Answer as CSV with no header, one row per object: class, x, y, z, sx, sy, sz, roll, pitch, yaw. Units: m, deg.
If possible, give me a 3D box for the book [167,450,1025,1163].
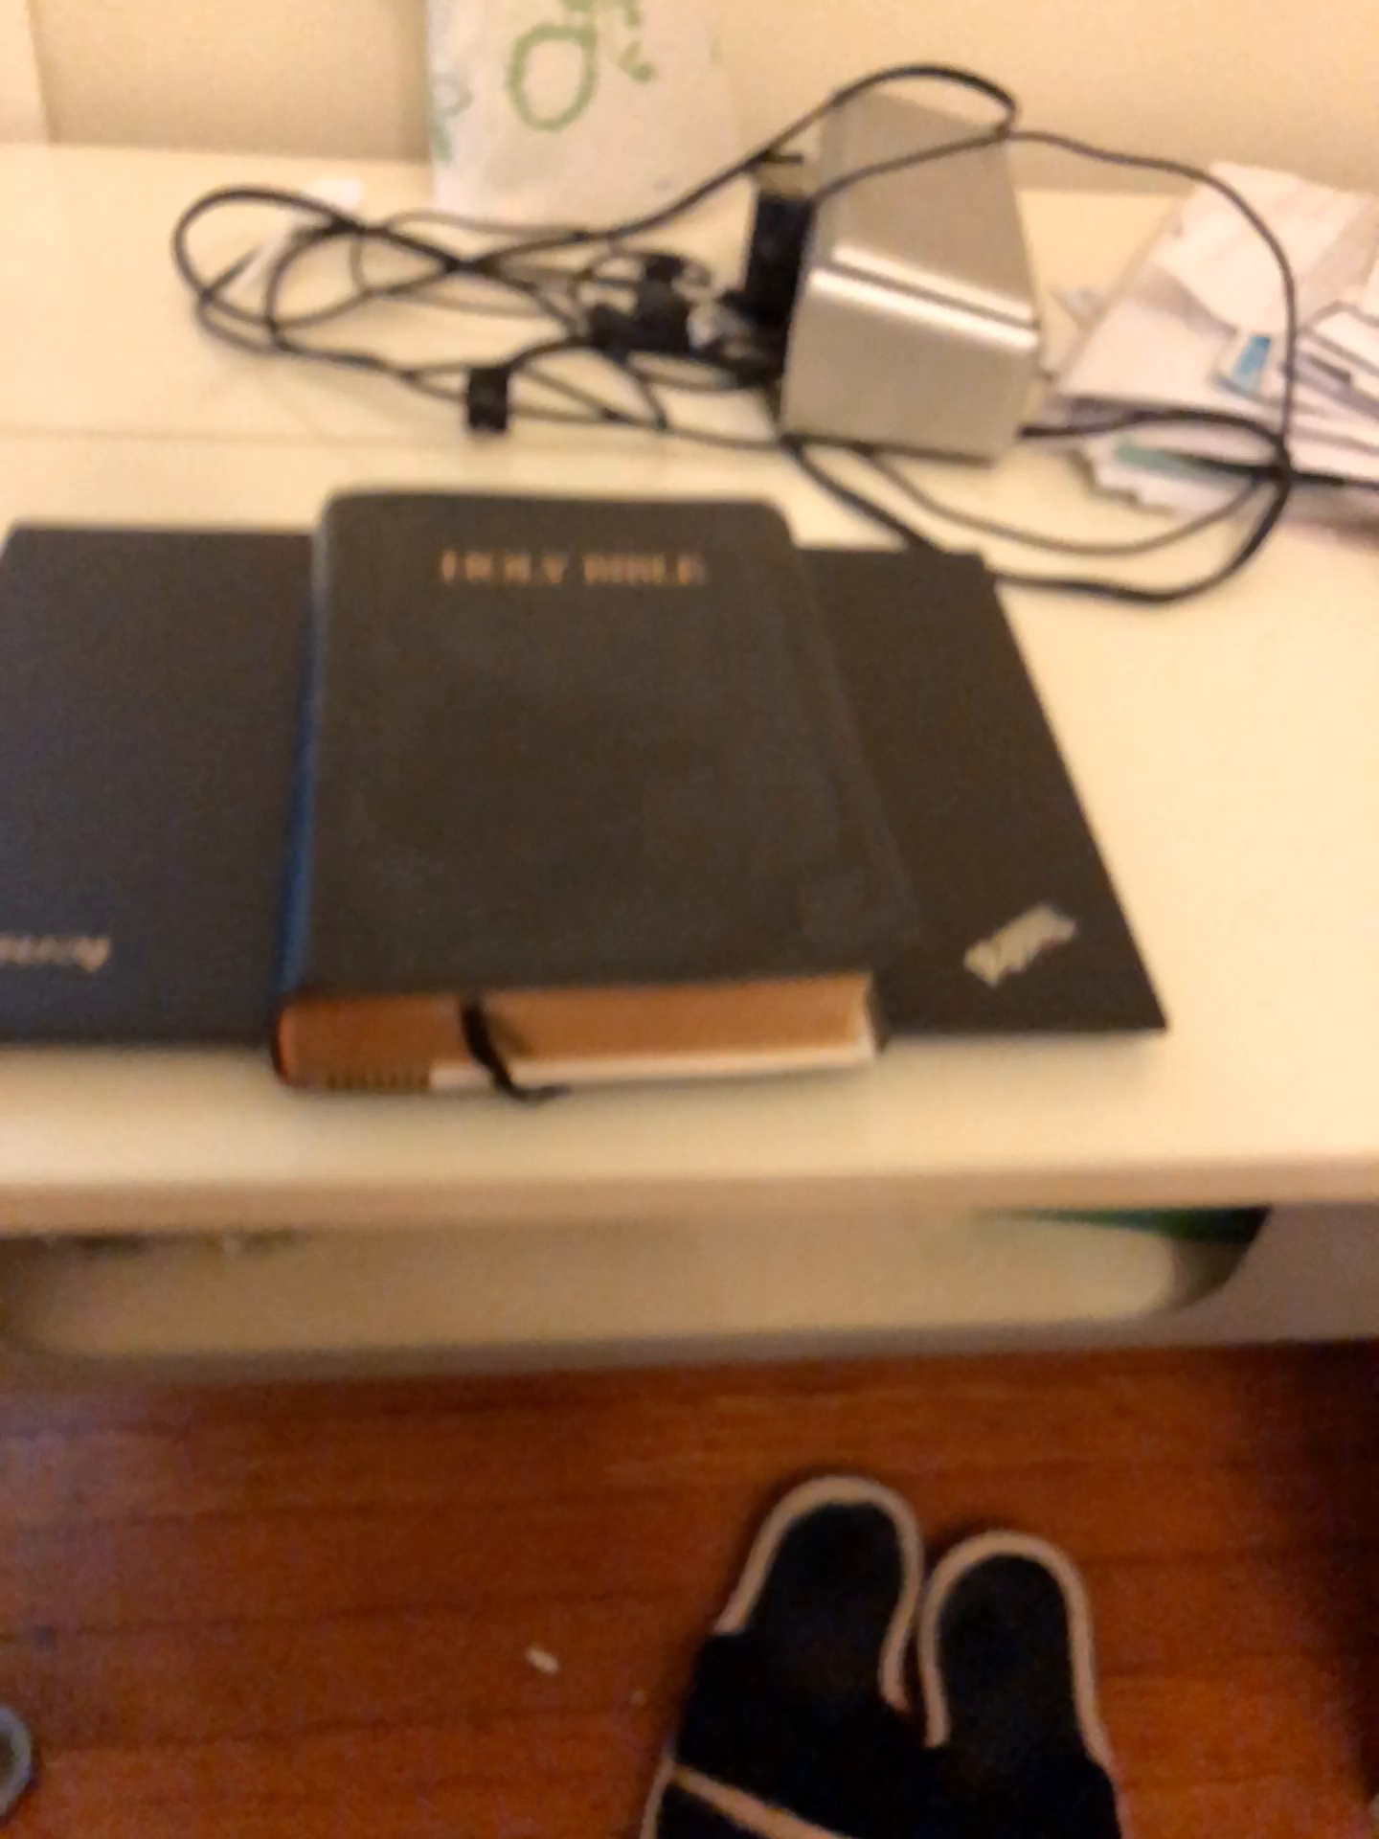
book,-0.030,-0.048,0.408,0.170,0.040,0.241,-1,43,-8
